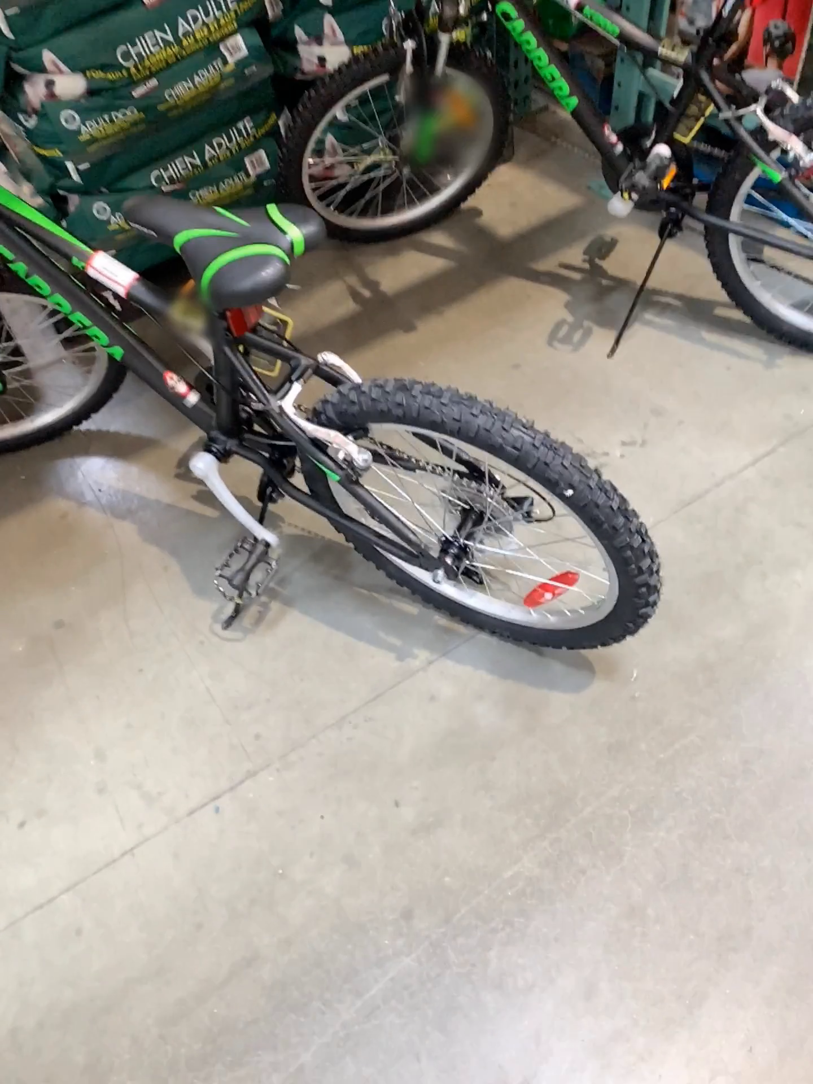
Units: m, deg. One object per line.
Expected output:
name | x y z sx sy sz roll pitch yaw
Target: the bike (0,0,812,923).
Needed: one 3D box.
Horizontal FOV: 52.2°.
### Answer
bike | -0.330 -0.185 1.003 1.305 0.855 0.710 13 55 14
